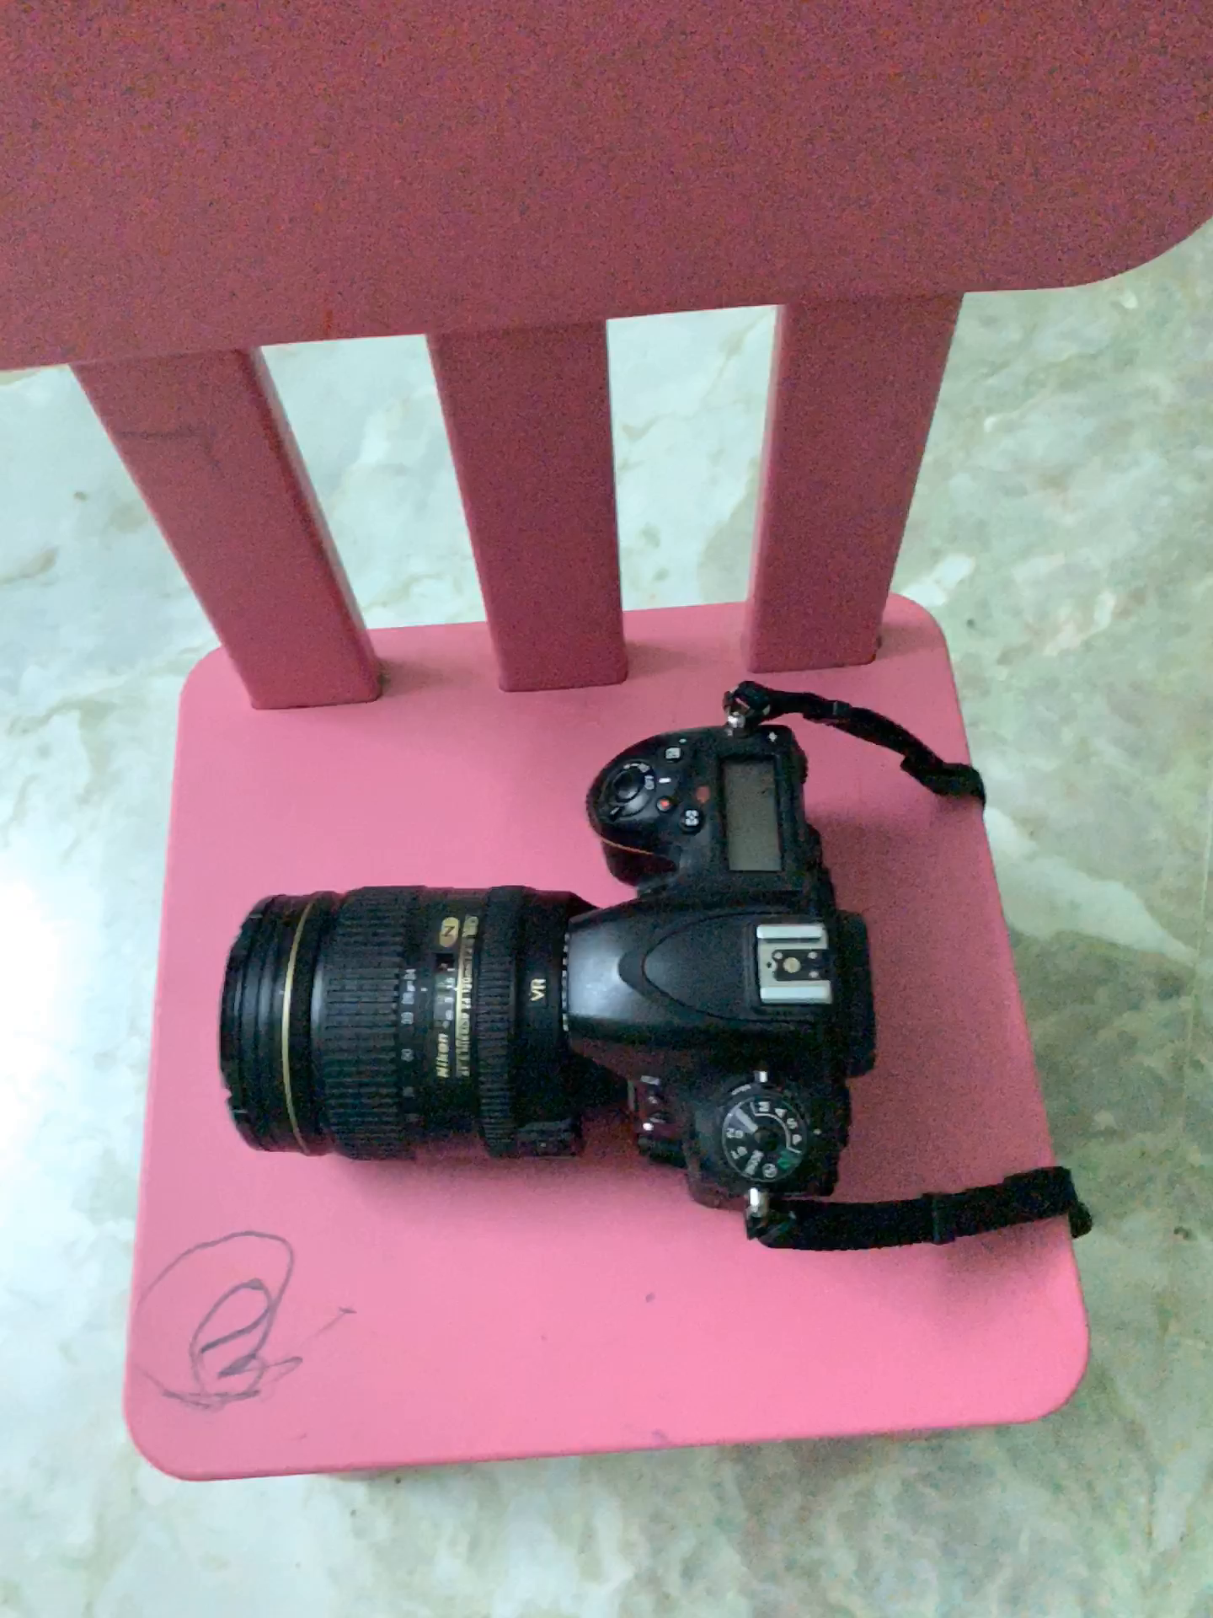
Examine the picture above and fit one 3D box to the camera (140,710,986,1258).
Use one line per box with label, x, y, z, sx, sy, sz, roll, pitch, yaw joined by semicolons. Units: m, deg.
camera;-0.012;0.055;0.370;0.210;0.080;0.140;-2;69;2
